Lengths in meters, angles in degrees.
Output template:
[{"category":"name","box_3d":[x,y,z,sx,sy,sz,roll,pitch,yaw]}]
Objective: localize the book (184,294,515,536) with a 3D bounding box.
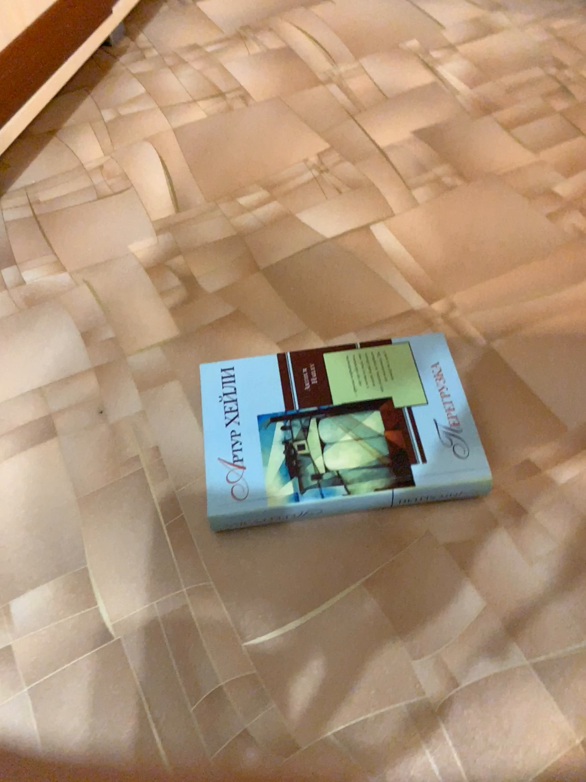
[{"category":"book","box_3d":[0.031,0.012,0.444,0.210,0.040,0.151,-8,58,-3]}]
